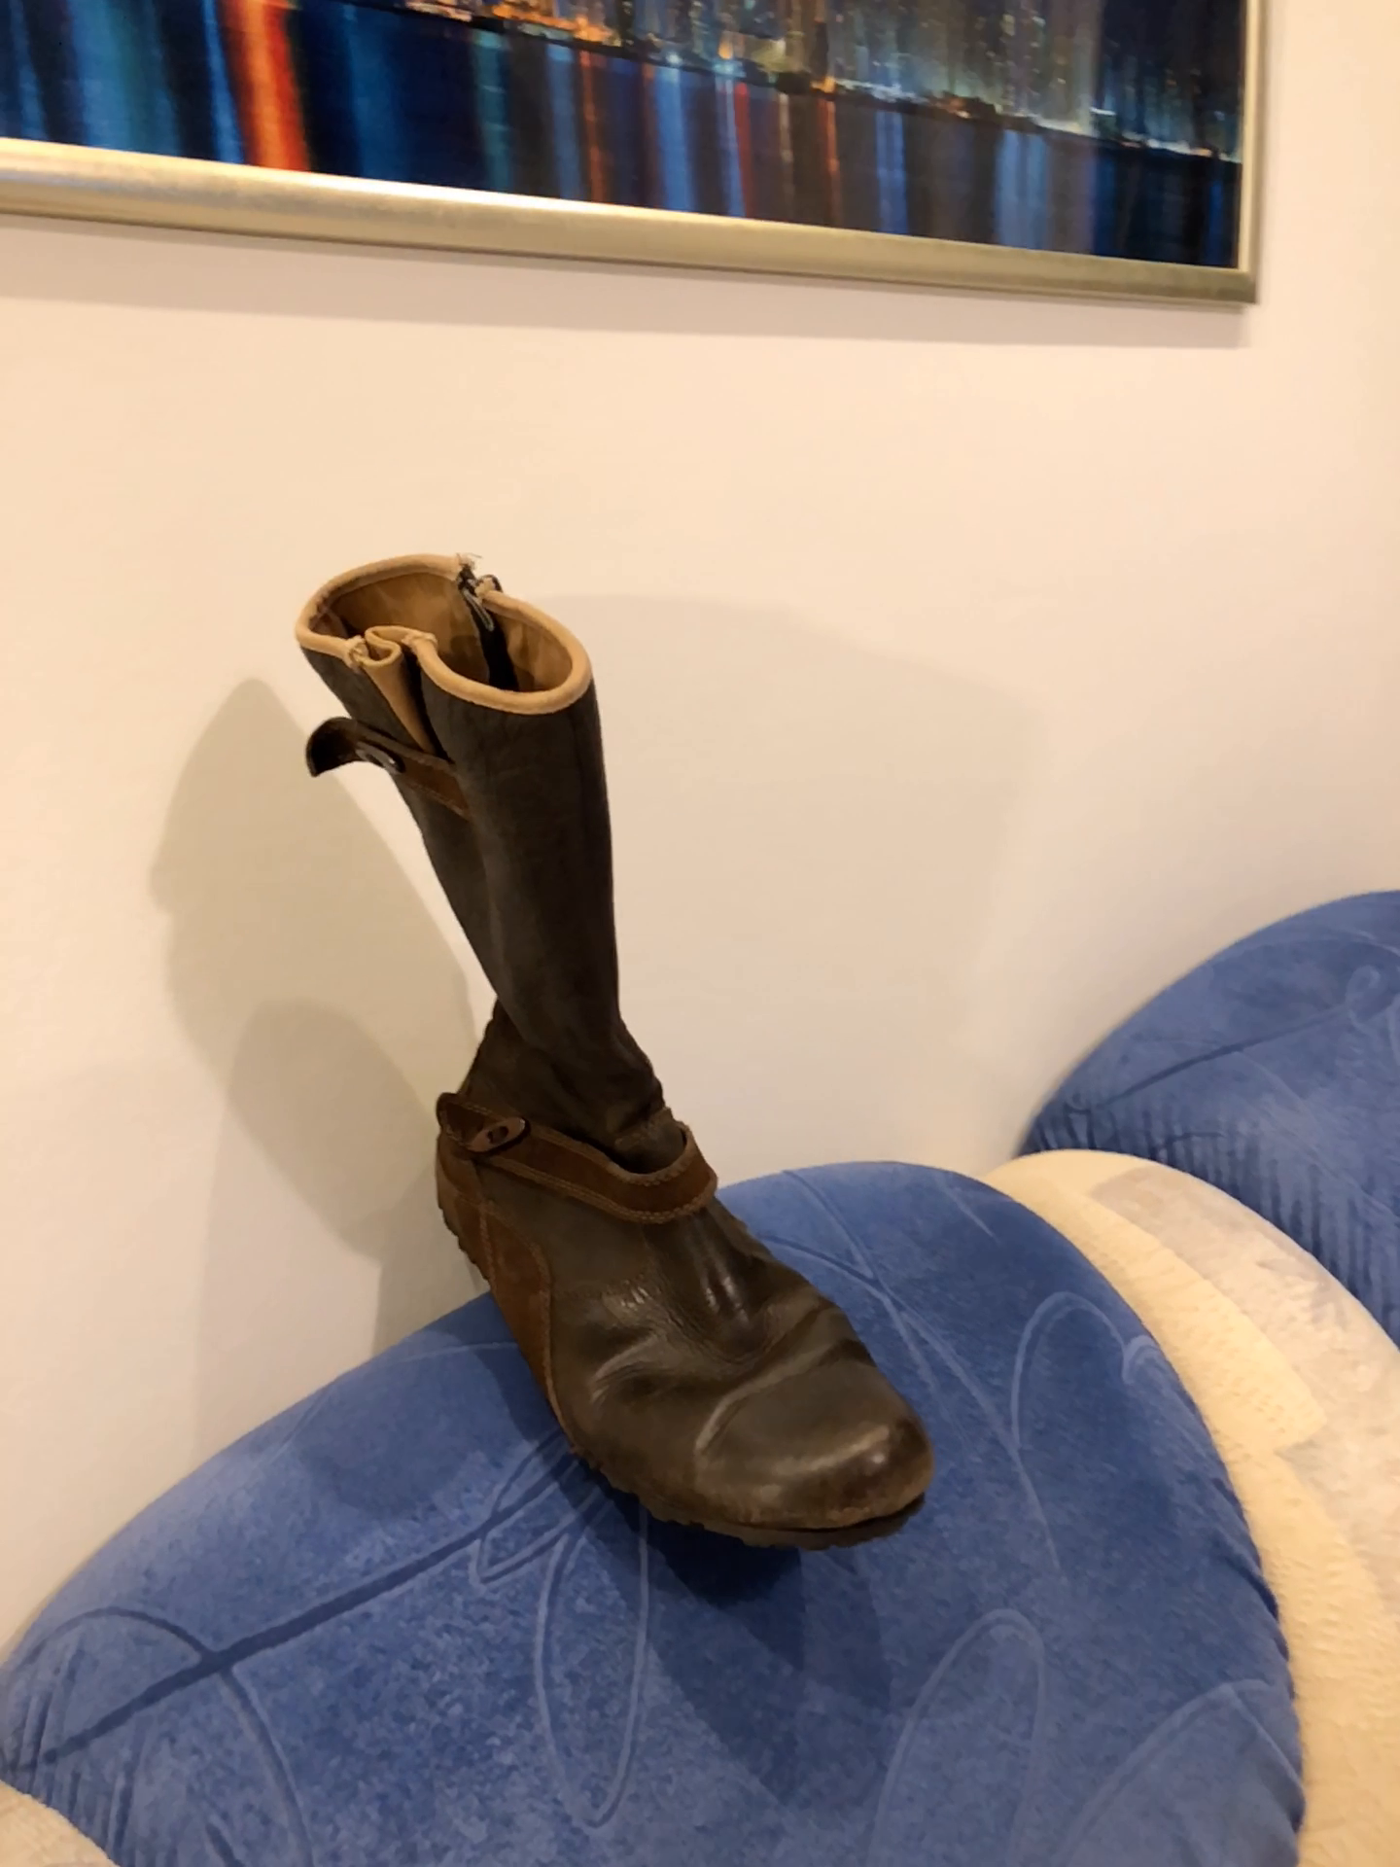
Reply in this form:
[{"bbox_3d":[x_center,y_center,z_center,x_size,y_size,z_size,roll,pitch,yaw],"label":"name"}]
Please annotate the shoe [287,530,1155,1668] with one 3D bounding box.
[{"bbox_3d":[-0.023,0.036,0.534,0.110,0.278,0.271,-17,36,-41],"label":"shoe"}]
